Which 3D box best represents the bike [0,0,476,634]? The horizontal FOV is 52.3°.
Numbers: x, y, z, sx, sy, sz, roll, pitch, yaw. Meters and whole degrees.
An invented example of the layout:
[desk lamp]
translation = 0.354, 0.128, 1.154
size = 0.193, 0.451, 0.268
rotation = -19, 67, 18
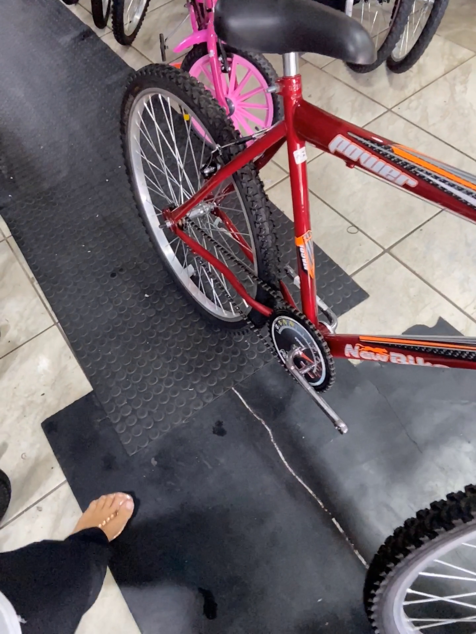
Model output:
[bike]
translation = 0.230, -0.208, 0.769
size = 0.566, 1.030, 1.586
rotation = -43, 58, -16
